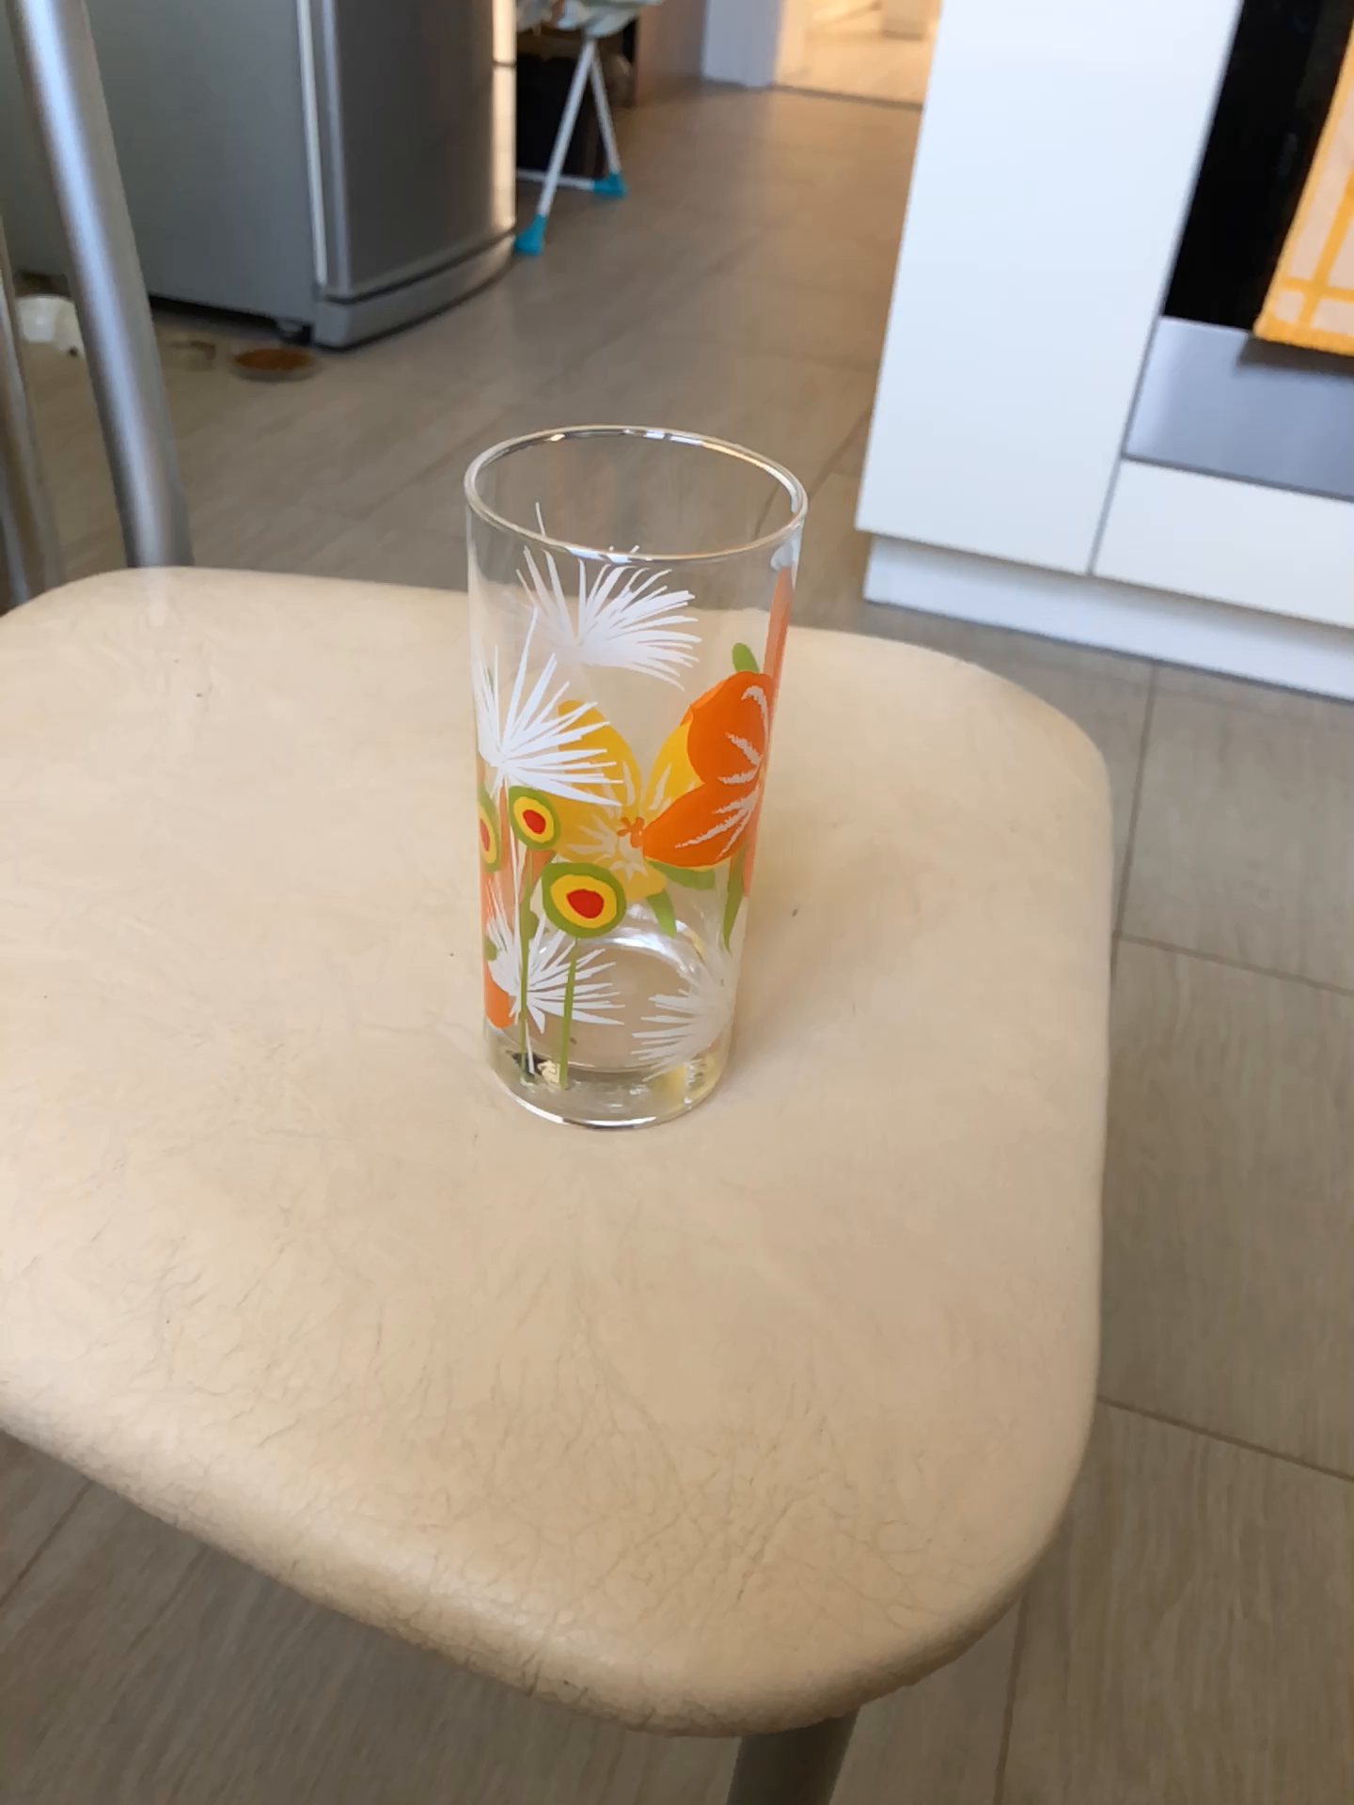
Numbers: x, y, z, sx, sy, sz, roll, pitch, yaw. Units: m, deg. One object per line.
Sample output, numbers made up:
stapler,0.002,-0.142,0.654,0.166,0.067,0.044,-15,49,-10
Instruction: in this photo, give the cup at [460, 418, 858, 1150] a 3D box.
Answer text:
cup,-0.011,-0.021,0.304,0.063,0.133,0.061,4,35,-3
